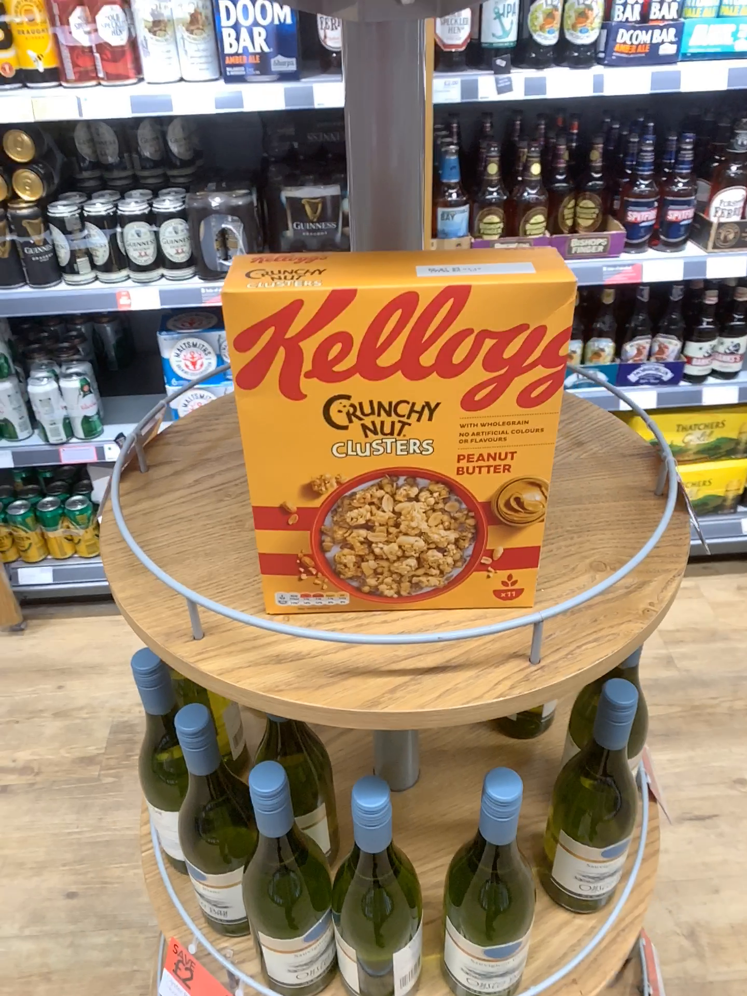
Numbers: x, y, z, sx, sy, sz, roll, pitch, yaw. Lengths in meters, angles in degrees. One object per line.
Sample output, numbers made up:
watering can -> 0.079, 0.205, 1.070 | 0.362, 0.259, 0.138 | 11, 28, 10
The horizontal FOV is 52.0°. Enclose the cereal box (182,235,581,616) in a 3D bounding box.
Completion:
cereal box -> 0.007, -0.036, 0.496 | 0.210, 0.238, 0.061 | -2, 35, -1
